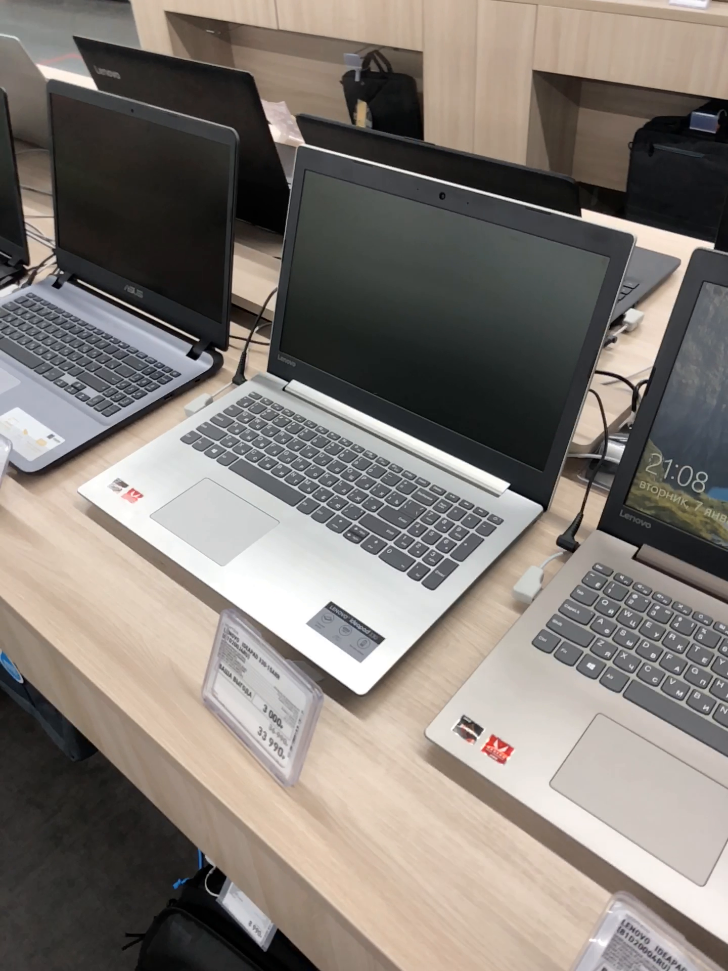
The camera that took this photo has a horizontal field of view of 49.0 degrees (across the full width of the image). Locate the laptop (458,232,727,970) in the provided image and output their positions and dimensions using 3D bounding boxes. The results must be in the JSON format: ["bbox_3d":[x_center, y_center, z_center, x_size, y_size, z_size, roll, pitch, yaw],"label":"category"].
[{"bbox_3d":[0.278,0.069,0.469,0.358,0.222,0.327,26,50,30],"label":"laptop"}]

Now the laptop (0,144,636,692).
[{"bbox_3d":[-0.033,-0.097,0.689,0.366,0.220,0.336,28,51,32],"label":"laptop"}]

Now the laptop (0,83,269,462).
[{"bbox_3d":[-0.358,-0.256,0.886,0.327,0.232,0.319,29,52,32],"label":"laptop"}]
